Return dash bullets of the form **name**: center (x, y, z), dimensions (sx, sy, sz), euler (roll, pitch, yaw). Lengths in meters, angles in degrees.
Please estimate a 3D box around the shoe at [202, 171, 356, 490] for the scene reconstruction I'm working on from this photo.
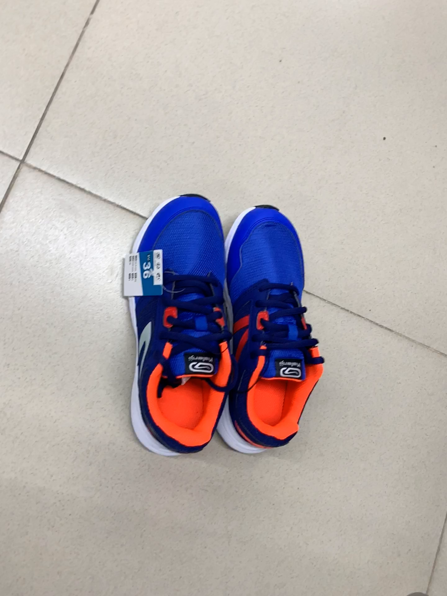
- **shoe**: center (0.046, 0.029, 0.430), dimensions (0.090, 0.120, 0.250), euler (4, 87, -19)

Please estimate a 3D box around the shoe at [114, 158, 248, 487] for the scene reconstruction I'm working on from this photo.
- **shoe**: center (-0.044, 0.021, 0.419), dimensions (0.090, 0.120, 0.250), euler (2, 87, -19)
